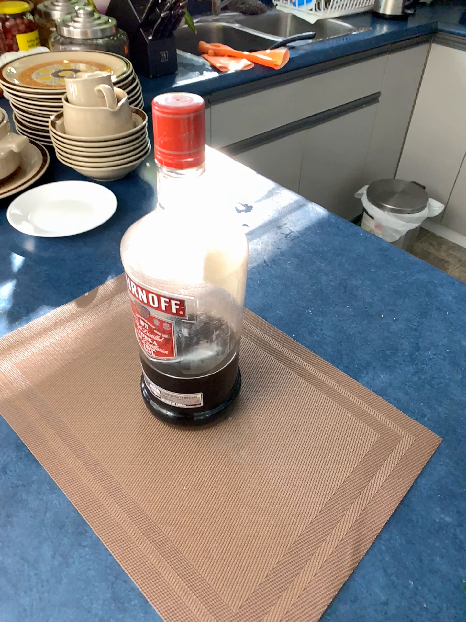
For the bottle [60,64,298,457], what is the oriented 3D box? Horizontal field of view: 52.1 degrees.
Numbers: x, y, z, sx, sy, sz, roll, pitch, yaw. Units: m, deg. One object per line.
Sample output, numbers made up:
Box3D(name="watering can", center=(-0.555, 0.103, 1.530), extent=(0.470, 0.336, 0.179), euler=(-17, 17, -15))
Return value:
Box3D(name="bottle", center=(-0.041, -0.027, 0.433), extent=(0.120, 0.317, 0.111), euler=(1, 42, -1))
